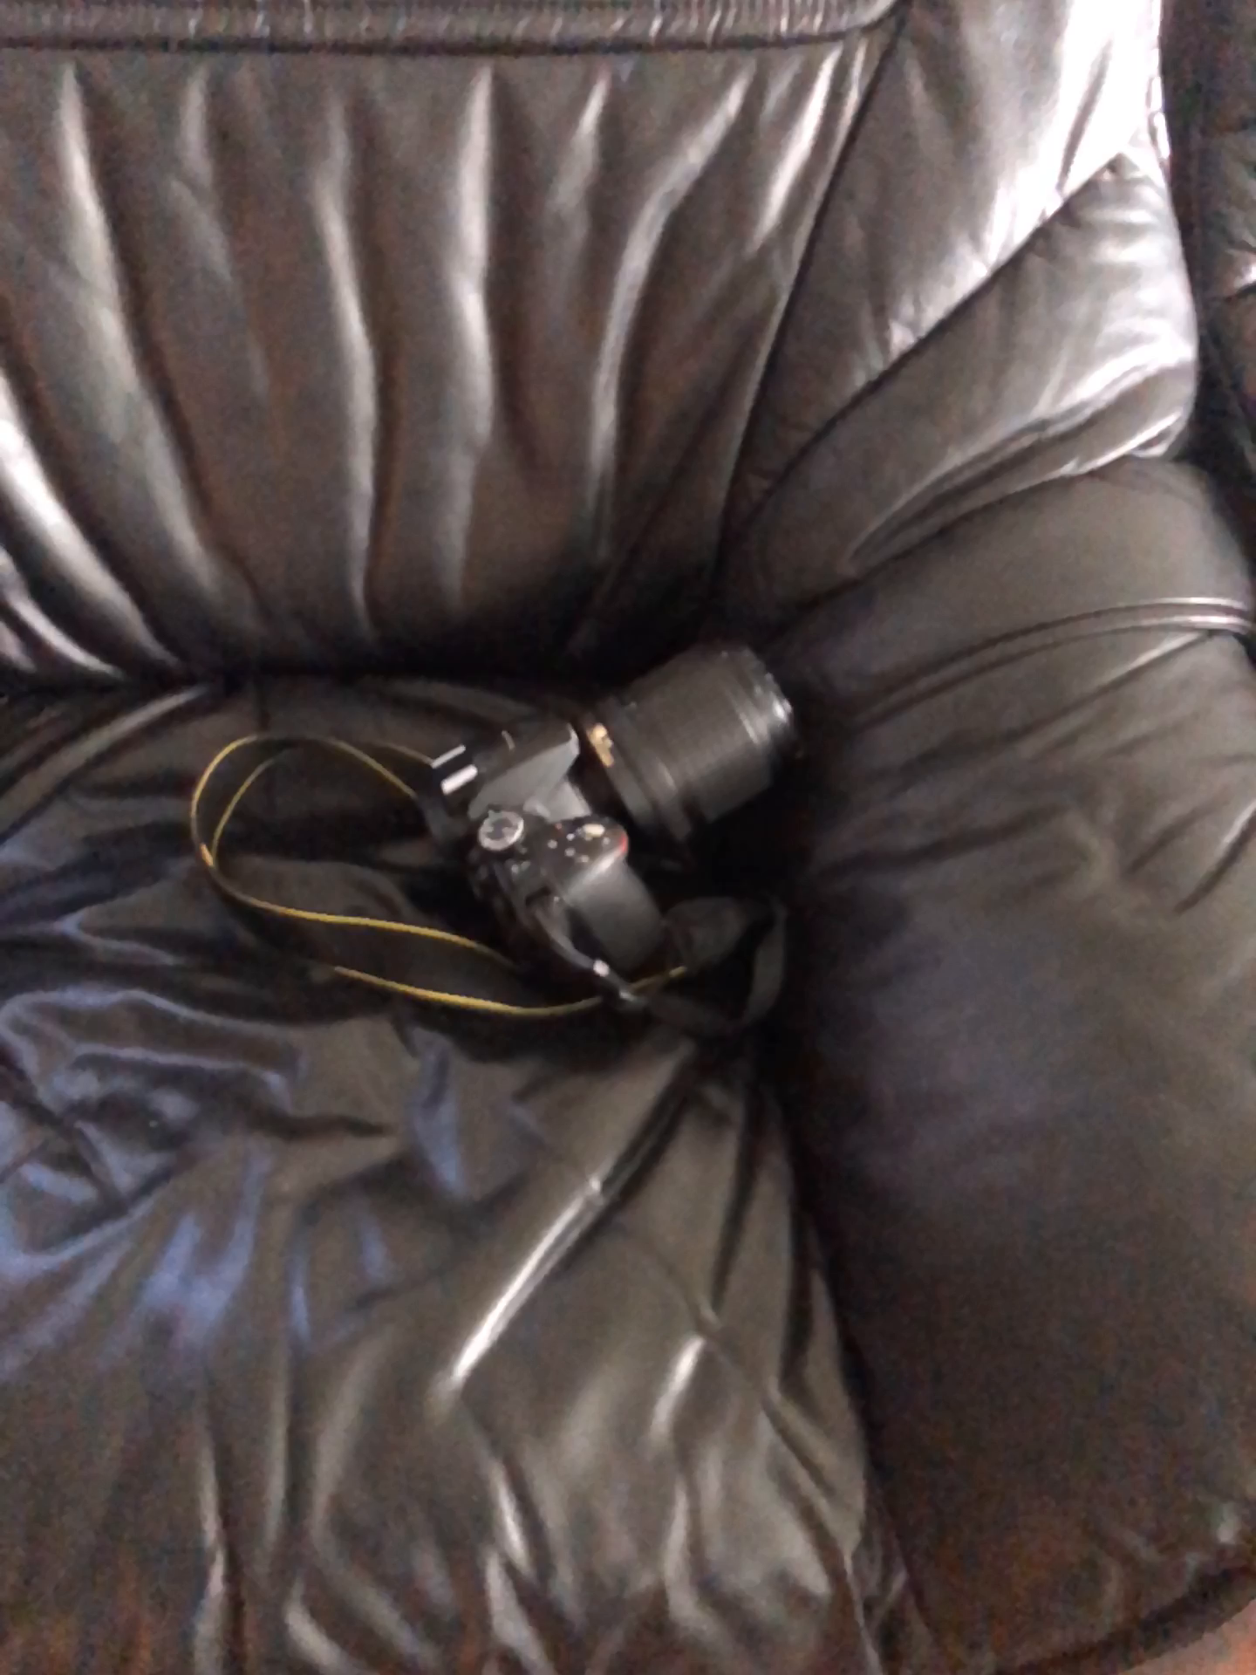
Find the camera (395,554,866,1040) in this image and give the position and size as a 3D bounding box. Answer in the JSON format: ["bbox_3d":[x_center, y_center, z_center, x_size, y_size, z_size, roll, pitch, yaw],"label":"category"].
[{"bbox_3d":[0.003,-0.021,0.718,0.170,0.130,0.140,-31,50,-4],"label":"camera"}]
